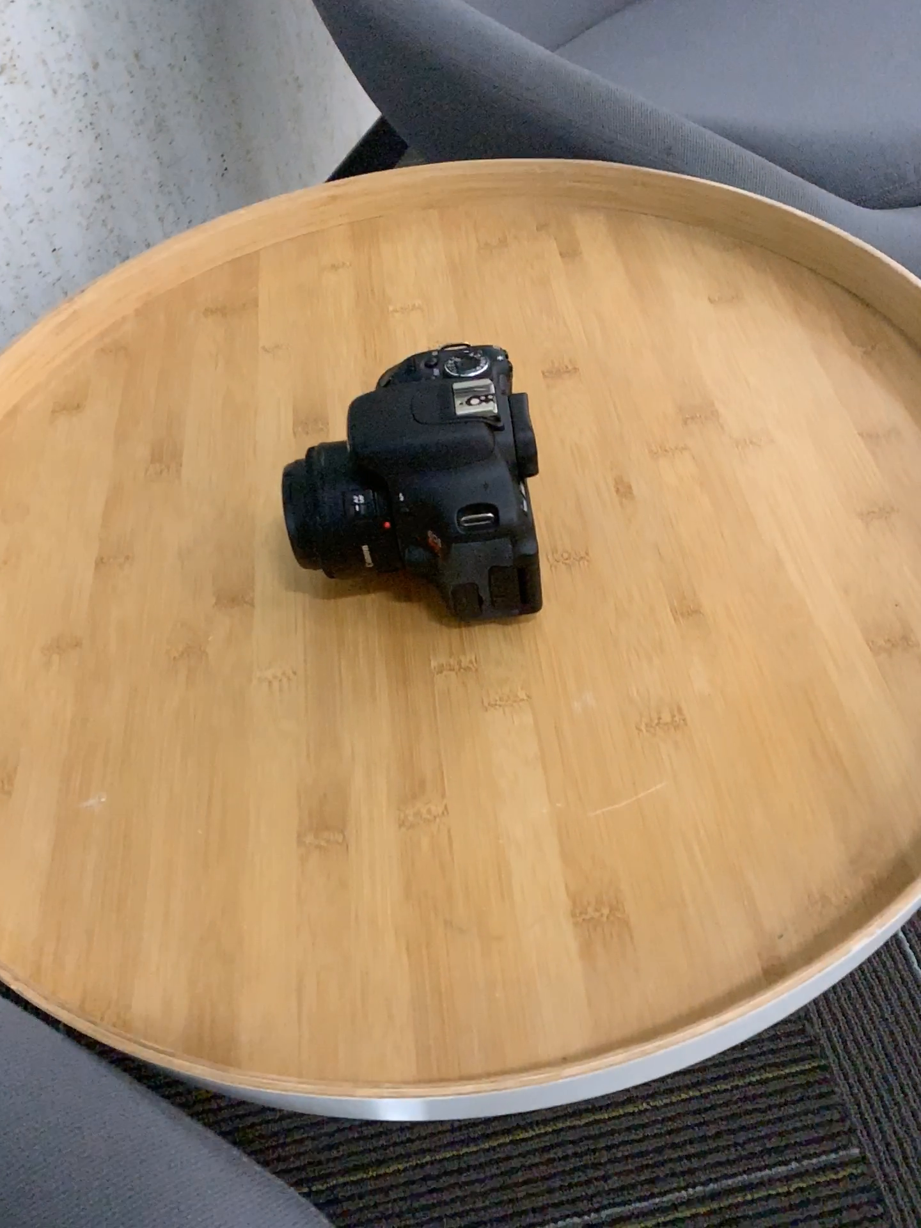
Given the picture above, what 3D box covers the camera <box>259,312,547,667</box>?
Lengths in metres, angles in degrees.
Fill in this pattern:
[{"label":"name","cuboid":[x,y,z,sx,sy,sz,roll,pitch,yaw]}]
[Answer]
[{"label":"camera","cuboid":[-0.025,-0.063,0.475,0.120,0.100,0.135,-6,53,2]}]
